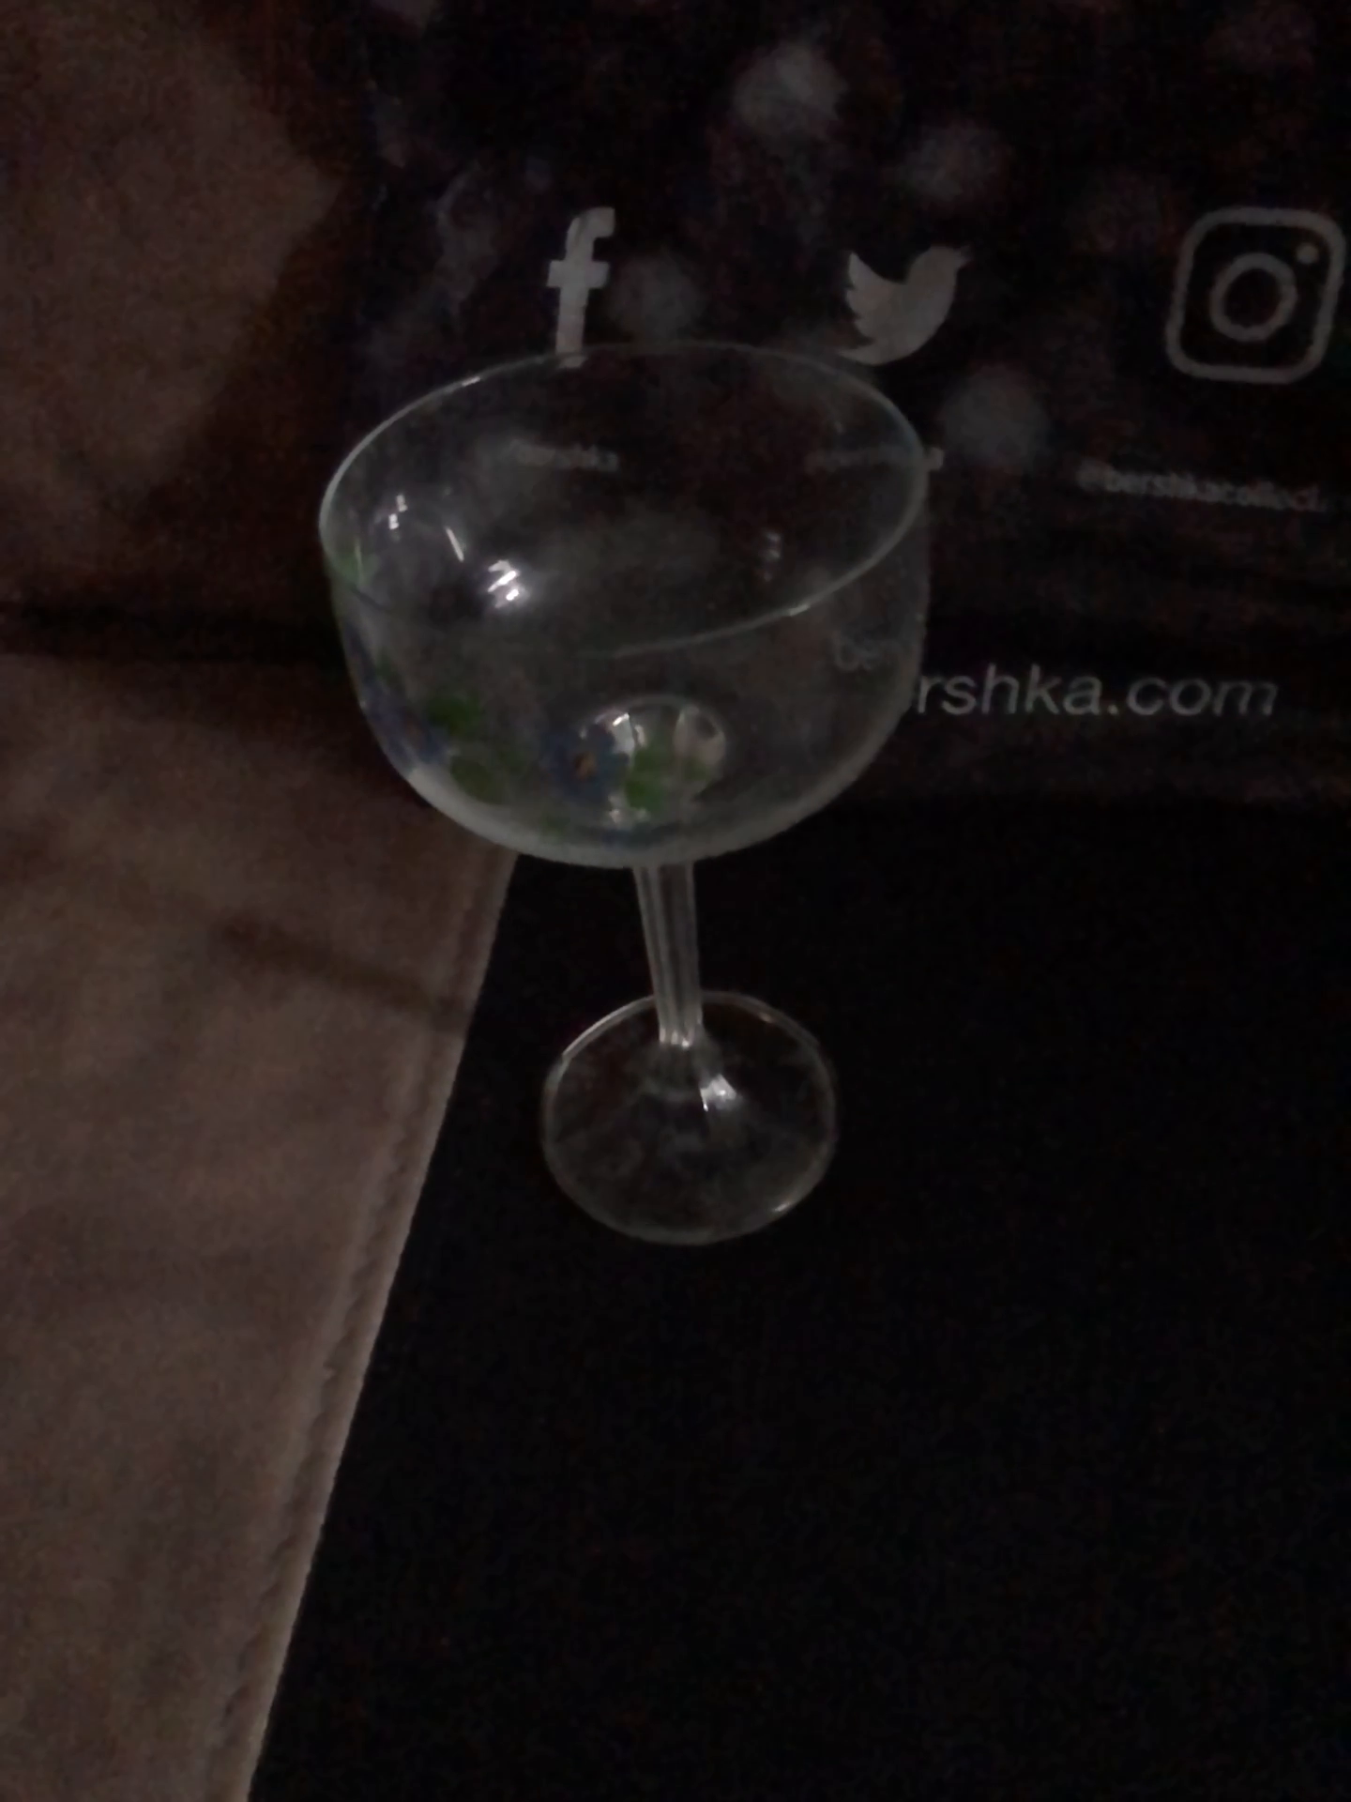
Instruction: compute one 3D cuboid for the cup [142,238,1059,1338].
[{"bbox_3d":[-0.006,-0.016,0.262,0.096,0.147,0.085,28,55,26],"label":"cup"}]
